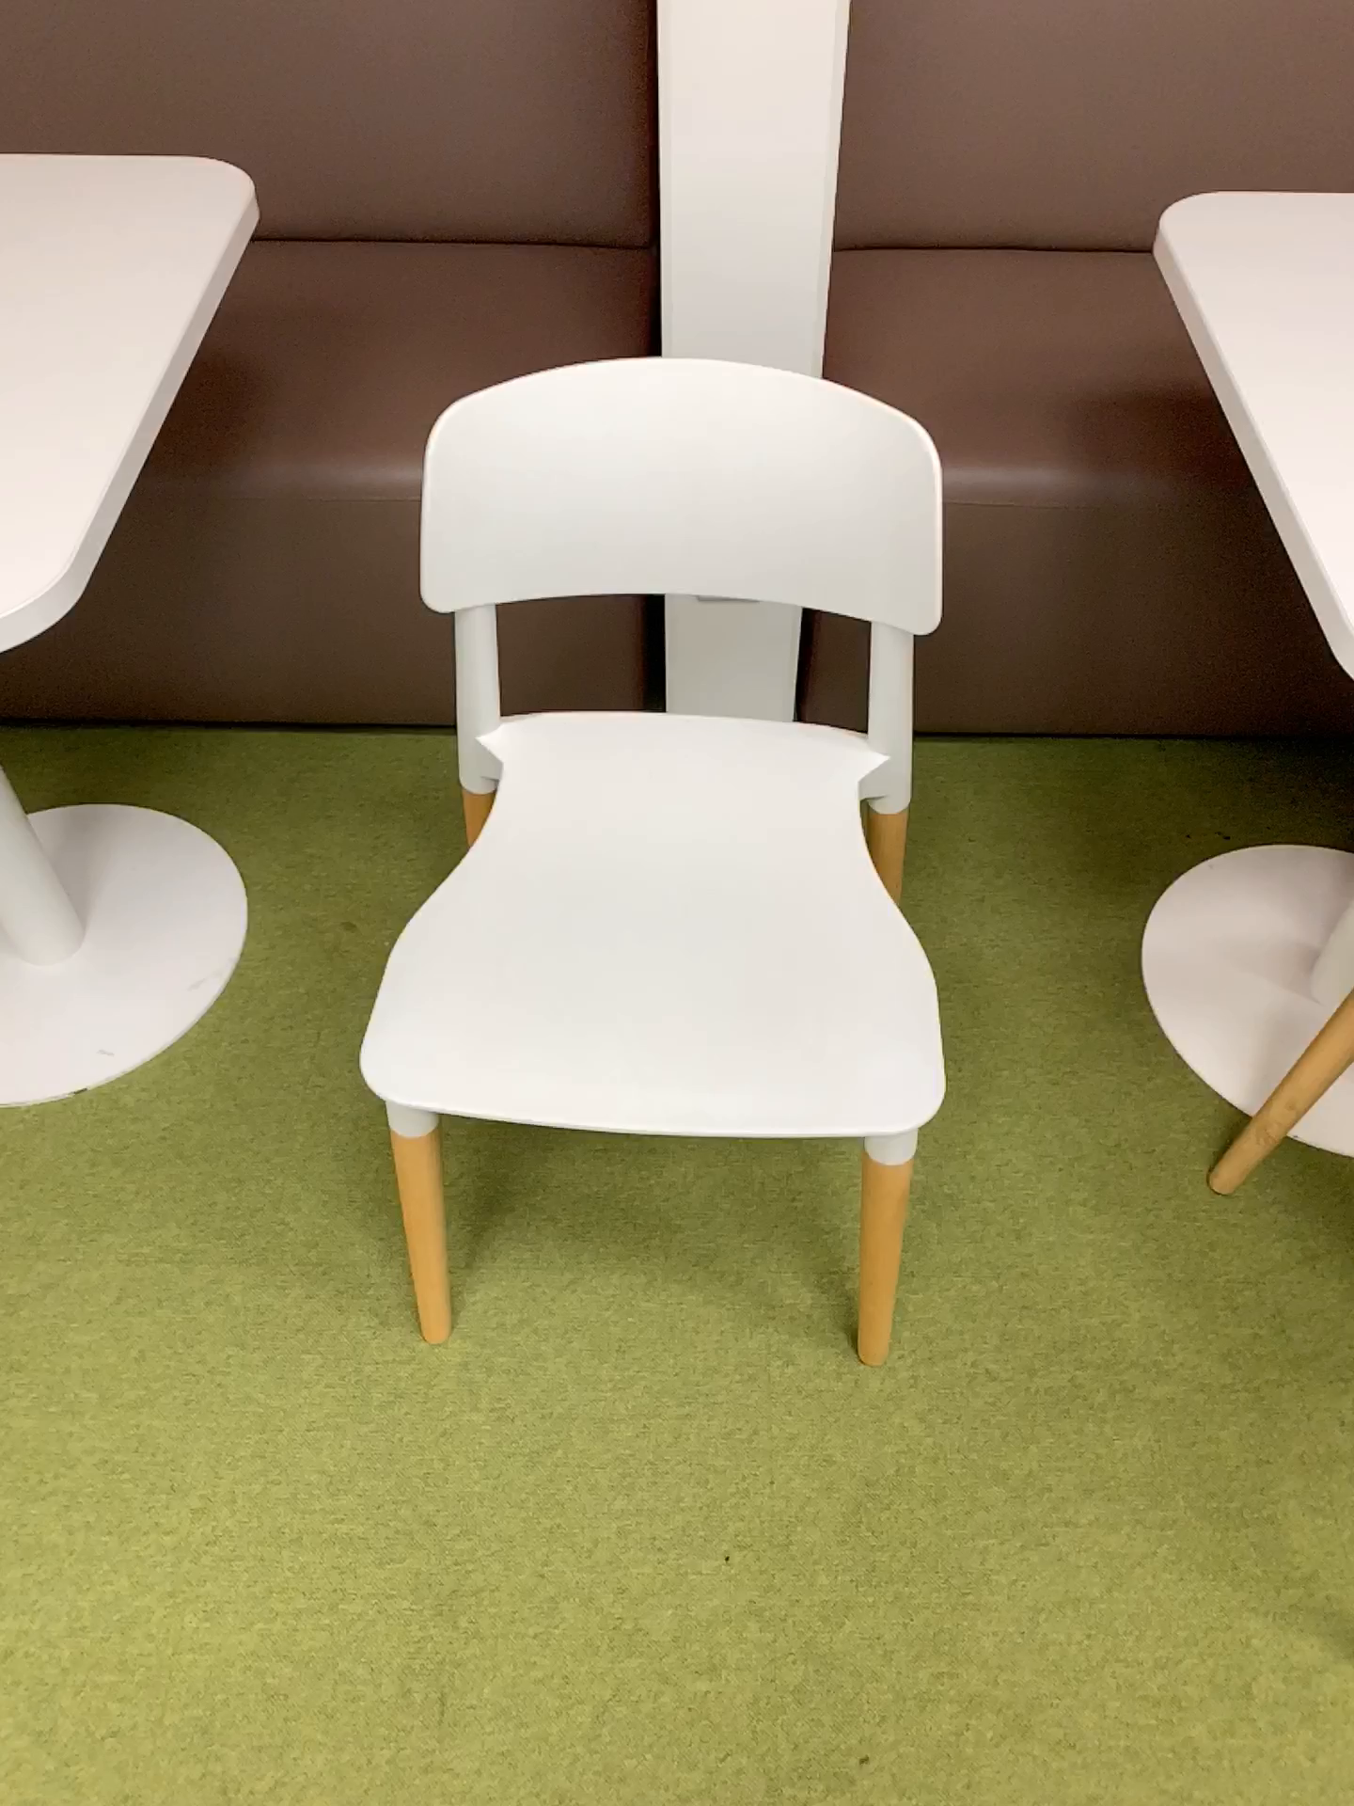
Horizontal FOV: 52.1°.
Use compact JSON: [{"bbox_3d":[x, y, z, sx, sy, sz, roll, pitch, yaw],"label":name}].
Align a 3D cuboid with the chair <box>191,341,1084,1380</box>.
[{"bbox_3d":[-0.010,0.010,1.235,0.500,0.786,0.502,3,50,2],"label":"chair"}]
